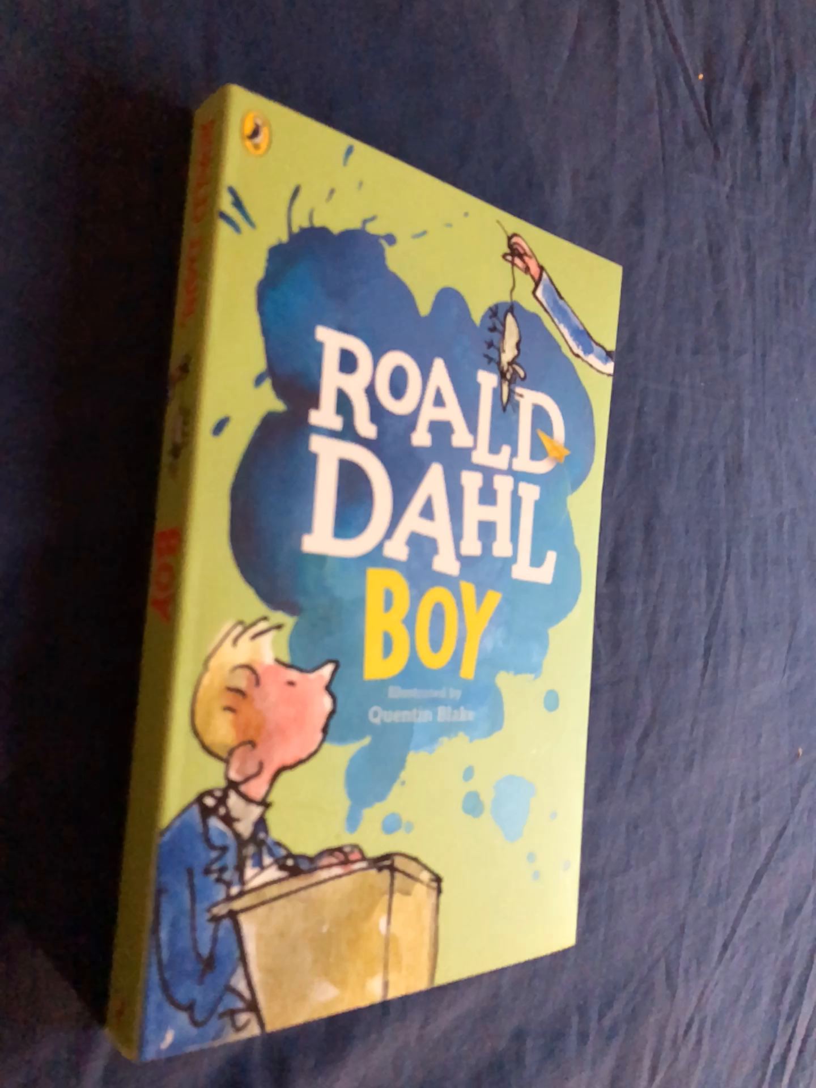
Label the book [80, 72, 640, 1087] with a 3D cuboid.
[{"bbox_3d":[0.000,0.010,0.216,0.126,0.027,0.189,9,85,-40],"label":"book"}]
